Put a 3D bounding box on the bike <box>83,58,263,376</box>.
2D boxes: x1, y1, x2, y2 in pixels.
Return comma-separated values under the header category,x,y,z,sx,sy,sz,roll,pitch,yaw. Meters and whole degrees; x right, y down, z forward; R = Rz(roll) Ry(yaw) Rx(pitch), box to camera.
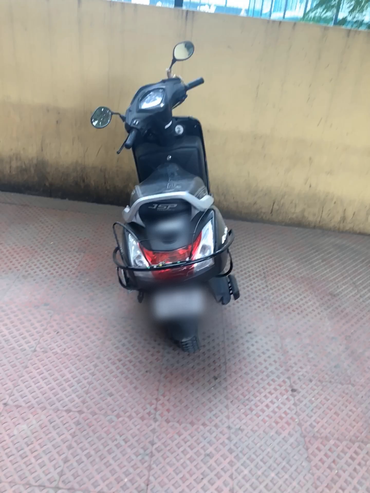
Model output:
category,x,y,z,sx,sy,sz,roll,pitch,yaw
bike,-0.110,-0.293,2.203,0.578,1.139,1.490,5,29,-5
